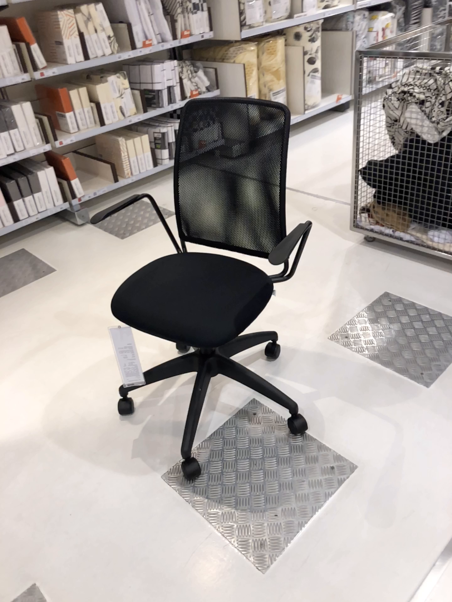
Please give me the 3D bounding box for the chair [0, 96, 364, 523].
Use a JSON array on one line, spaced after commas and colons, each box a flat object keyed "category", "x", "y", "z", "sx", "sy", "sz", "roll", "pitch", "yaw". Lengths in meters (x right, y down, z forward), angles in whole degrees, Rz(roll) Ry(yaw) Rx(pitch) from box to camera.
[{"category": "chair", "x": -0.059, "y": -0.044, "z": 1.372, "sx": 0.631, "sy": 0.814, "sz": 0.694, "roll": 14, "pitch": 40, "yaw": 29}]
